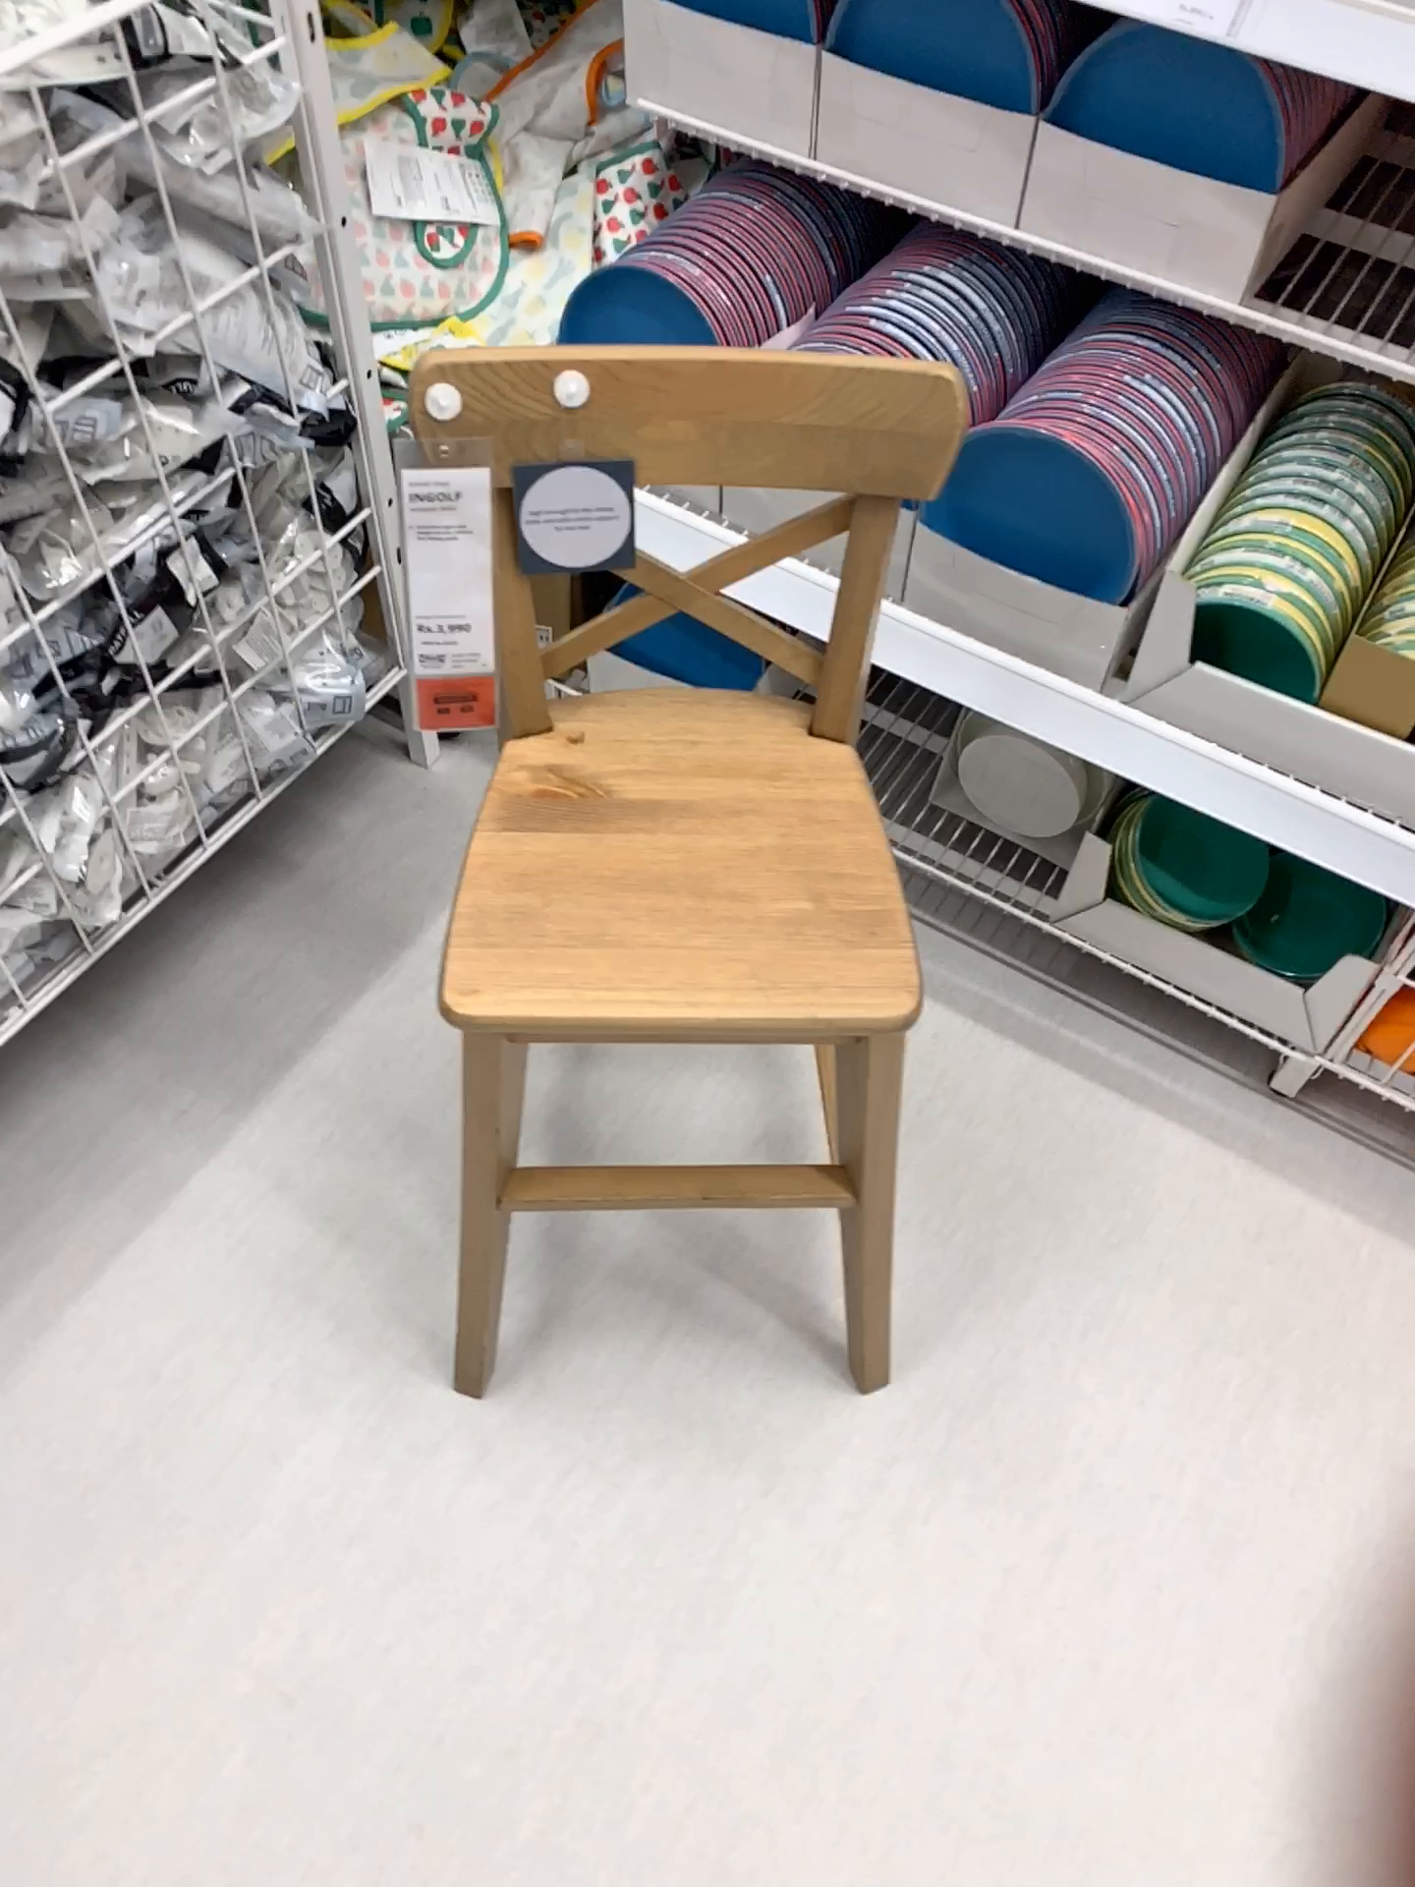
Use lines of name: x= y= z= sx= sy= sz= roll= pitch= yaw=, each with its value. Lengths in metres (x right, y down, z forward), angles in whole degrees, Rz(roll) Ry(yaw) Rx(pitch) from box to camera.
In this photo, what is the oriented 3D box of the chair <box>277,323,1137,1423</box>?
chair: x=-0.030 y=-0.001 z=1.043 sx=0.380 sy=0.688 sz=0.461 roll=-2 pitch=55 yaw=-5
